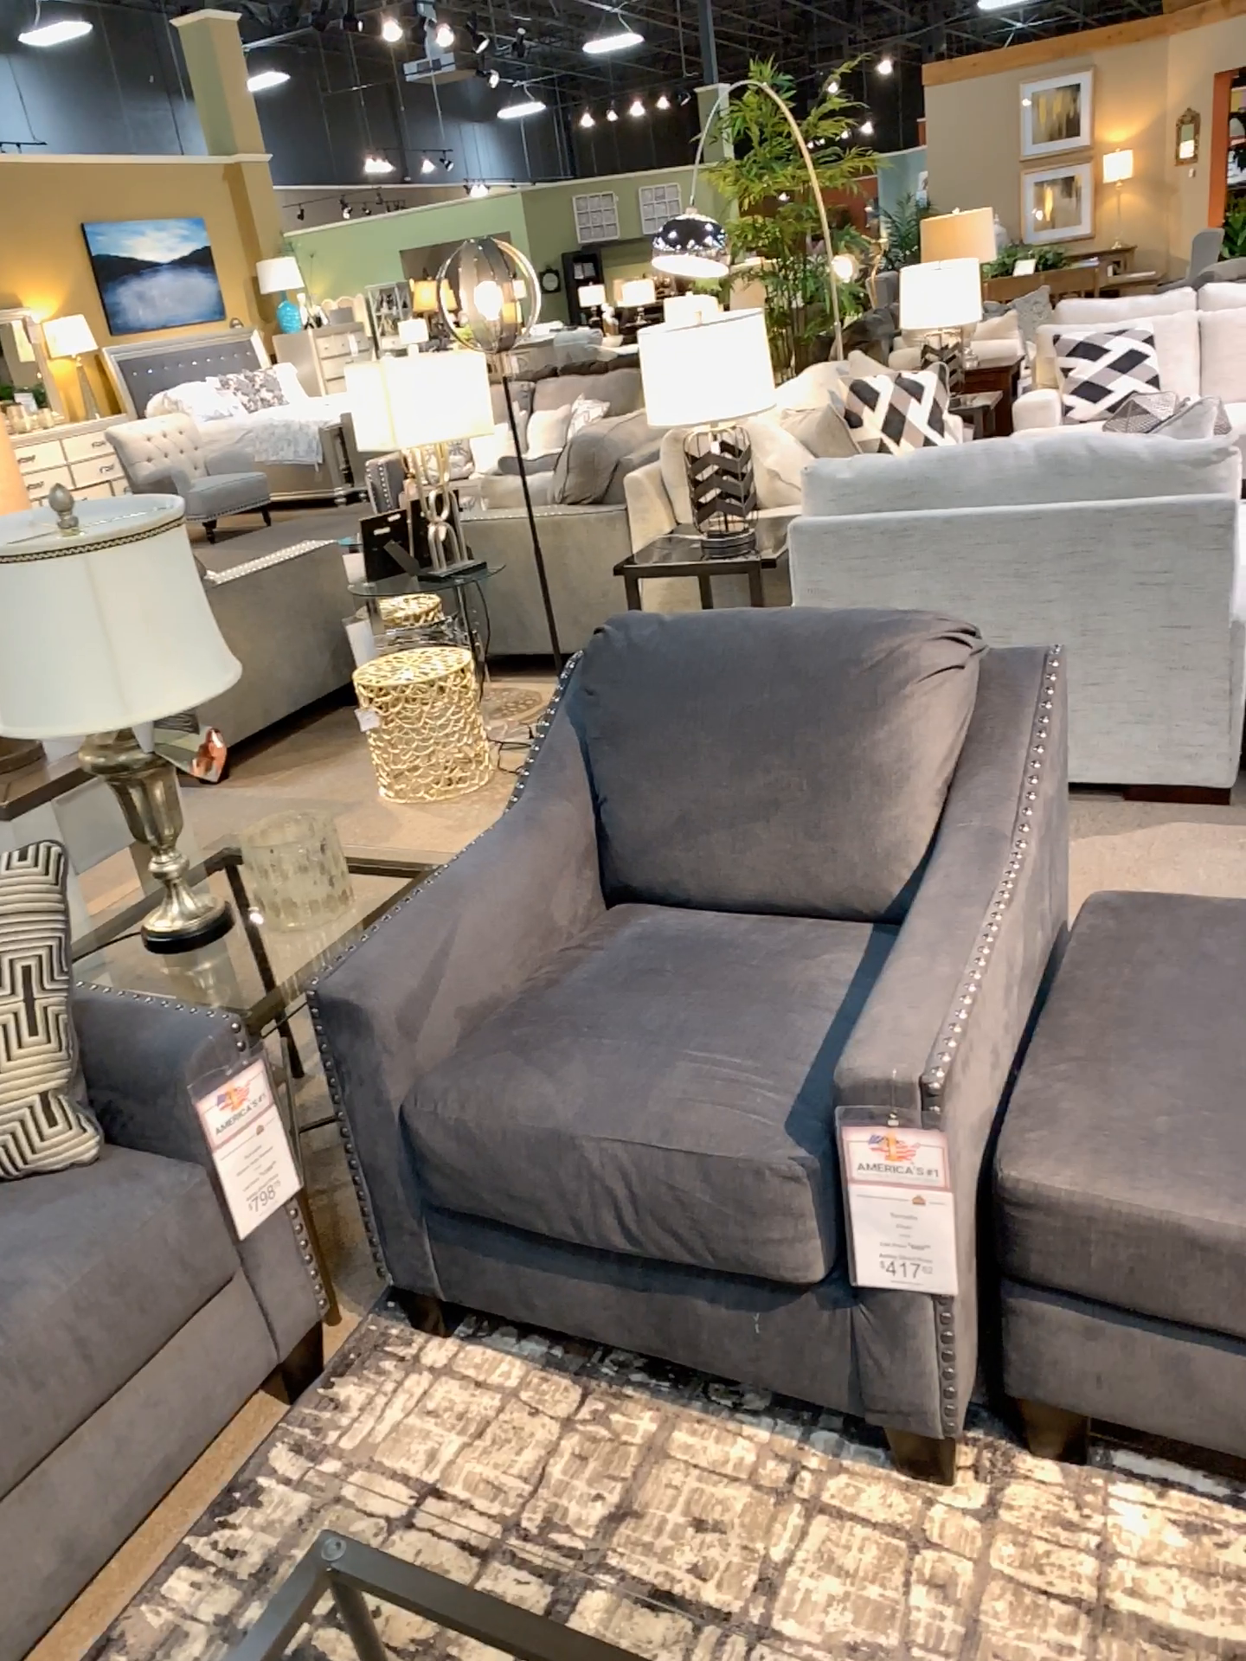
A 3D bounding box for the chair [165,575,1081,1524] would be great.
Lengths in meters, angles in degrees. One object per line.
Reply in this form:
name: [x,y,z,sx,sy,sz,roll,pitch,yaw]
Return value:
chair: [0.123,0.175,1.861,0.921,0.840,0.960,4,26,26]
